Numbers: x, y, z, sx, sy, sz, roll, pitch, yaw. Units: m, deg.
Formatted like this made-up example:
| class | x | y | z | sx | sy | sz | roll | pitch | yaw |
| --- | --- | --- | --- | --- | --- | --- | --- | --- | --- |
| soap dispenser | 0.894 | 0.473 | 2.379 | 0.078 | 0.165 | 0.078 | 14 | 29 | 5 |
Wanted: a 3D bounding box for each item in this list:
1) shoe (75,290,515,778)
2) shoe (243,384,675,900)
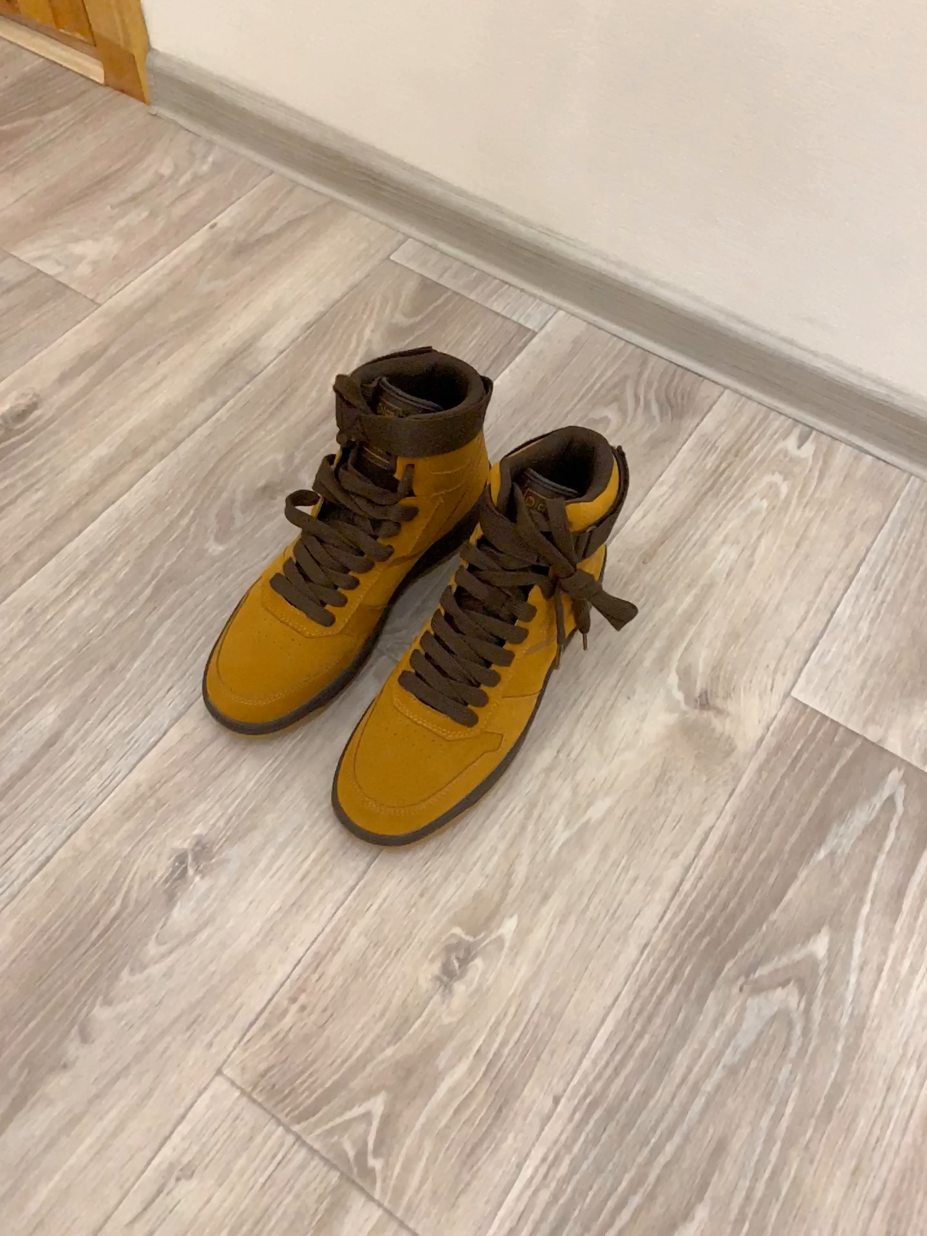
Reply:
| class | x | y | z | sx | sy | sz | roll | pitch | yaw |
| --- | --- | --- | --- | --- | --- | --- | --- | --- | --- |
| shoe | -0.090 | -0.058 | 0.614 | 0.101 | 0.140 | 0.280 | 31 | 62 | 15 |
| shoe | 0.006 | 0.010 | 0.586 | 0.101 | 0.140 | 0.280 | 31 | 62 | 15 |
